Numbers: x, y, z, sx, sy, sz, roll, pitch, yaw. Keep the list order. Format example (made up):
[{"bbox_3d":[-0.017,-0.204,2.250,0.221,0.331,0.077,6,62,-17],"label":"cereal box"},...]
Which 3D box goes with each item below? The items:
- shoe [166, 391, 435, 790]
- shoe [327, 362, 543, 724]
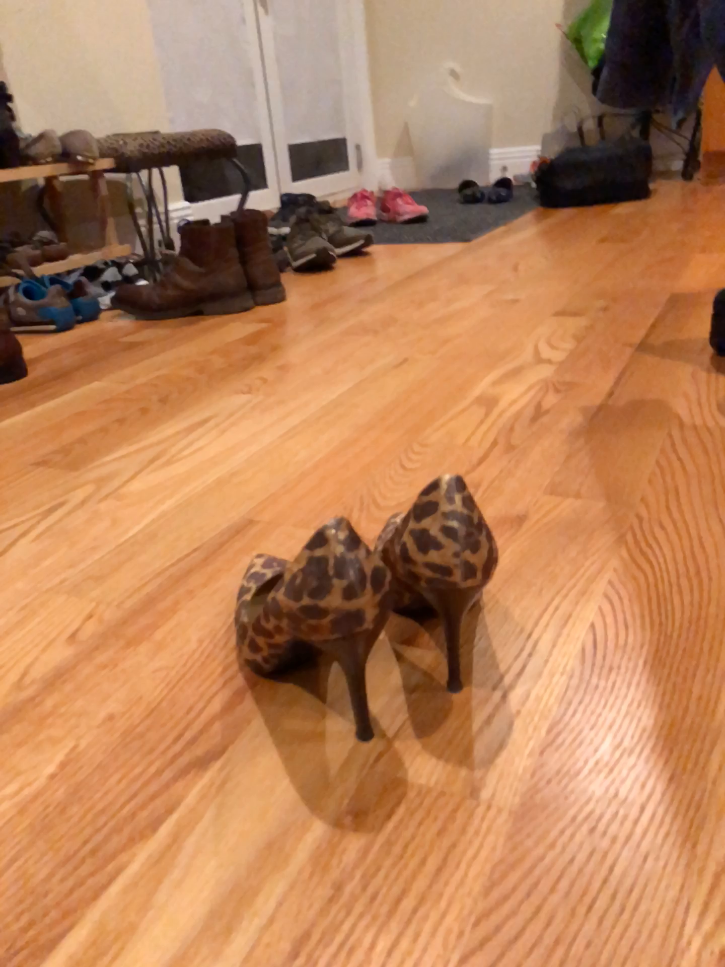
[{"bbox_3d":[-0.047,0.047,0.491,0.084,0.144,0.219,-14,25,-19],"label":"shoe"},{"bbox_3d":[0.039,0.022,0.526,0.083,0.144,0.219,-9,24,-6],"label":"shoe"}]
